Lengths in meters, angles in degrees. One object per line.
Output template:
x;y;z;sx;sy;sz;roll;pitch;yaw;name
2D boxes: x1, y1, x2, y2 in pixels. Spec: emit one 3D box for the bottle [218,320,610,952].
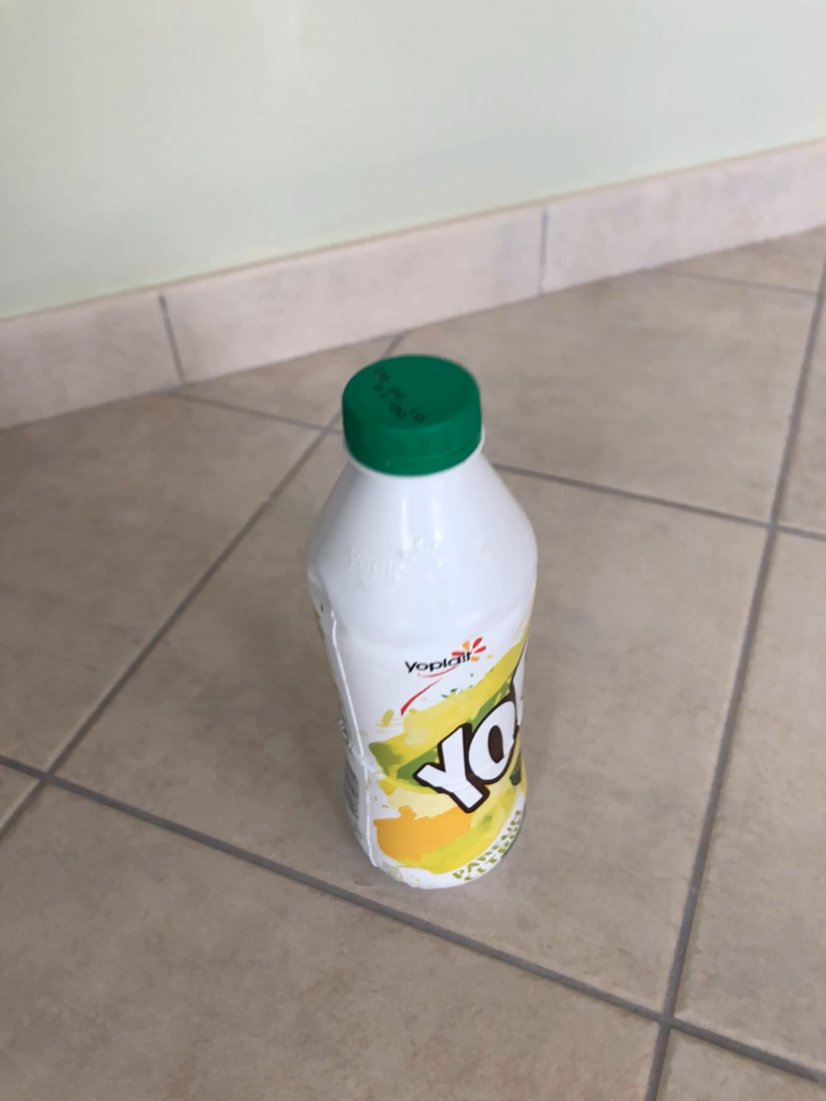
0.006;0.045;0.344;0.080;0.229;0.080;-2;44;2;bottle
